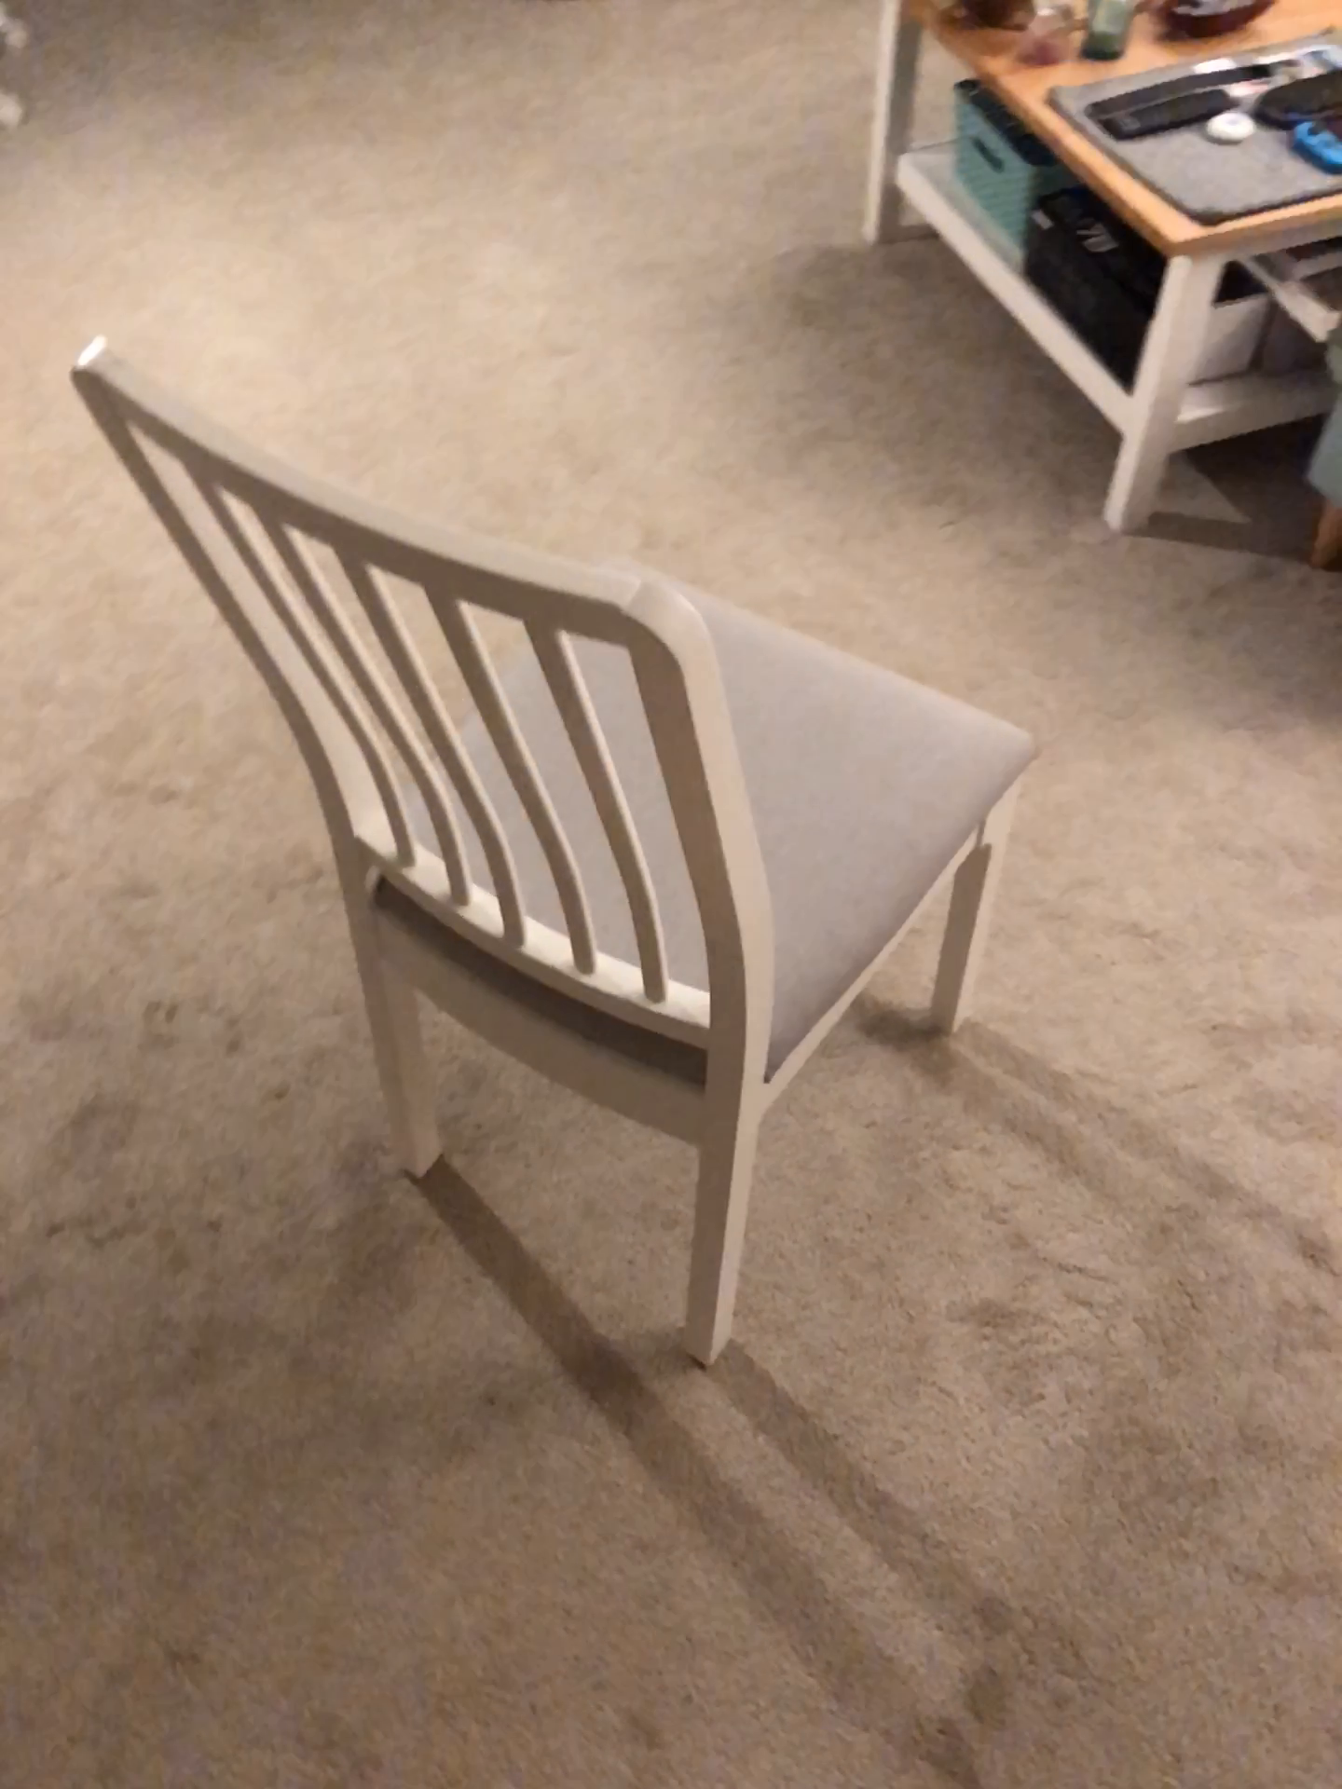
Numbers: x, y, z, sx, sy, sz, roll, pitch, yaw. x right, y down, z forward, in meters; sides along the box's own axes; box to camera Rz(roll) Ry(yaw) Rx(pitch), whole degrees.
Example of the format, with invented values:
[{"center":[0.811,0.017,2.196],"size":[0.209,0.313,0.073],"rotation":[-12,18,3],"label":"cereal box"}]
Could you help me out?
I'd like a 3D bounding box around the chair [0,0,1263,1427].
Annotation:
[{"center":[-0.011,-0.099,1.166],"size":[0.501,0.905,0.552],"rotation":[29,59,22],"label":"chair"}]
